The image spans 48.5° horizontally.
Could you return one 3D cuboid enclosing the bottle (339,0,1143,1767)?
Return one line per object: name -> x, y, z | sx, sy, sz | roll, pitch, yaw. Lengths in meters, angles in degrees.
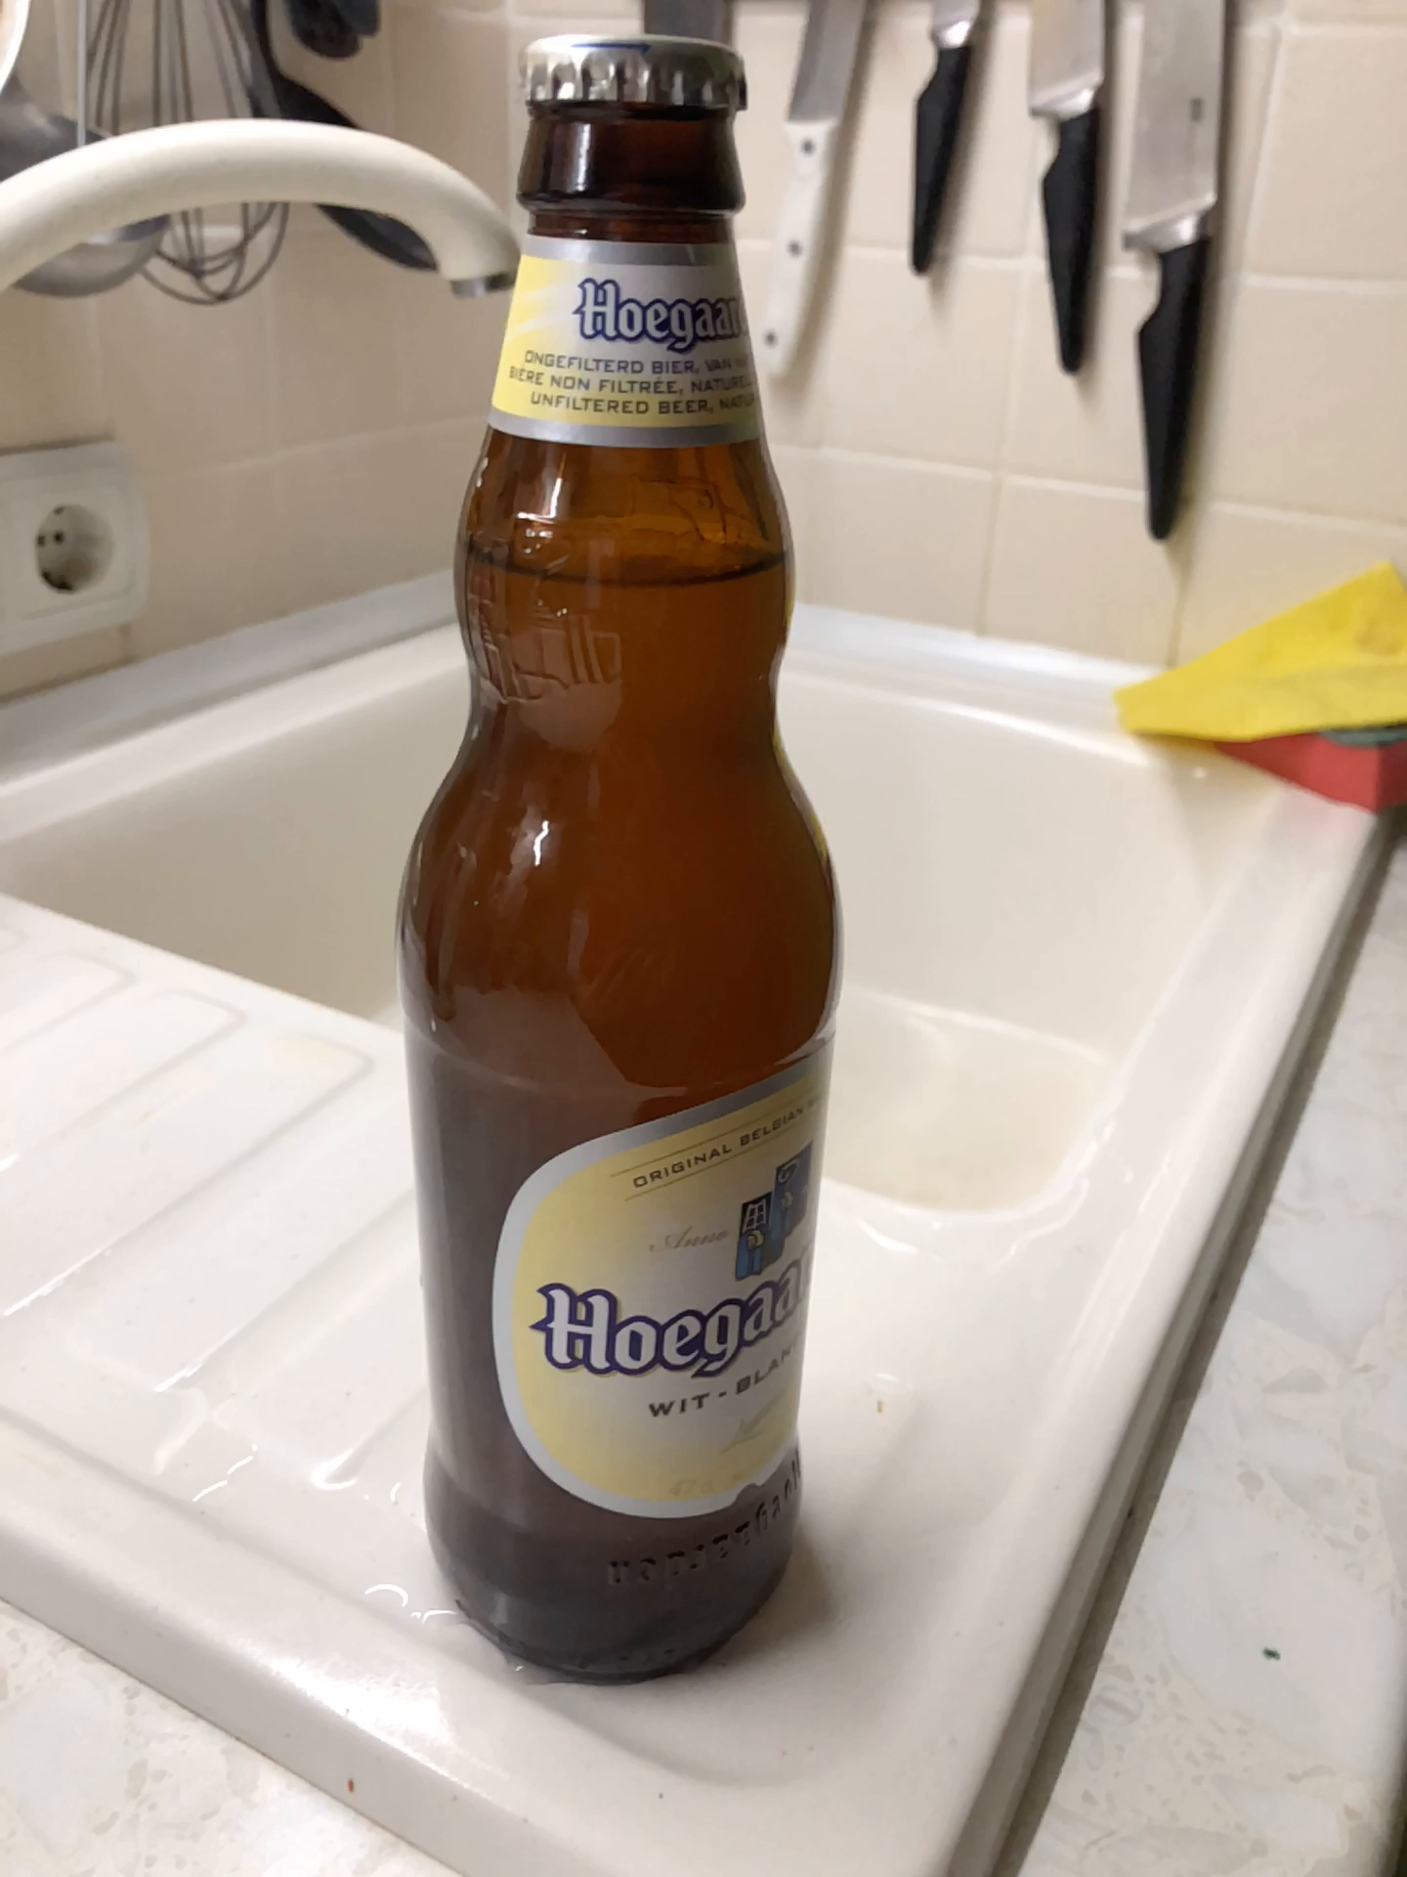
bottle -> 0.000, 0.001, 0.228 | 0.070, 0.231, 0.060 | -21, 34, -40
